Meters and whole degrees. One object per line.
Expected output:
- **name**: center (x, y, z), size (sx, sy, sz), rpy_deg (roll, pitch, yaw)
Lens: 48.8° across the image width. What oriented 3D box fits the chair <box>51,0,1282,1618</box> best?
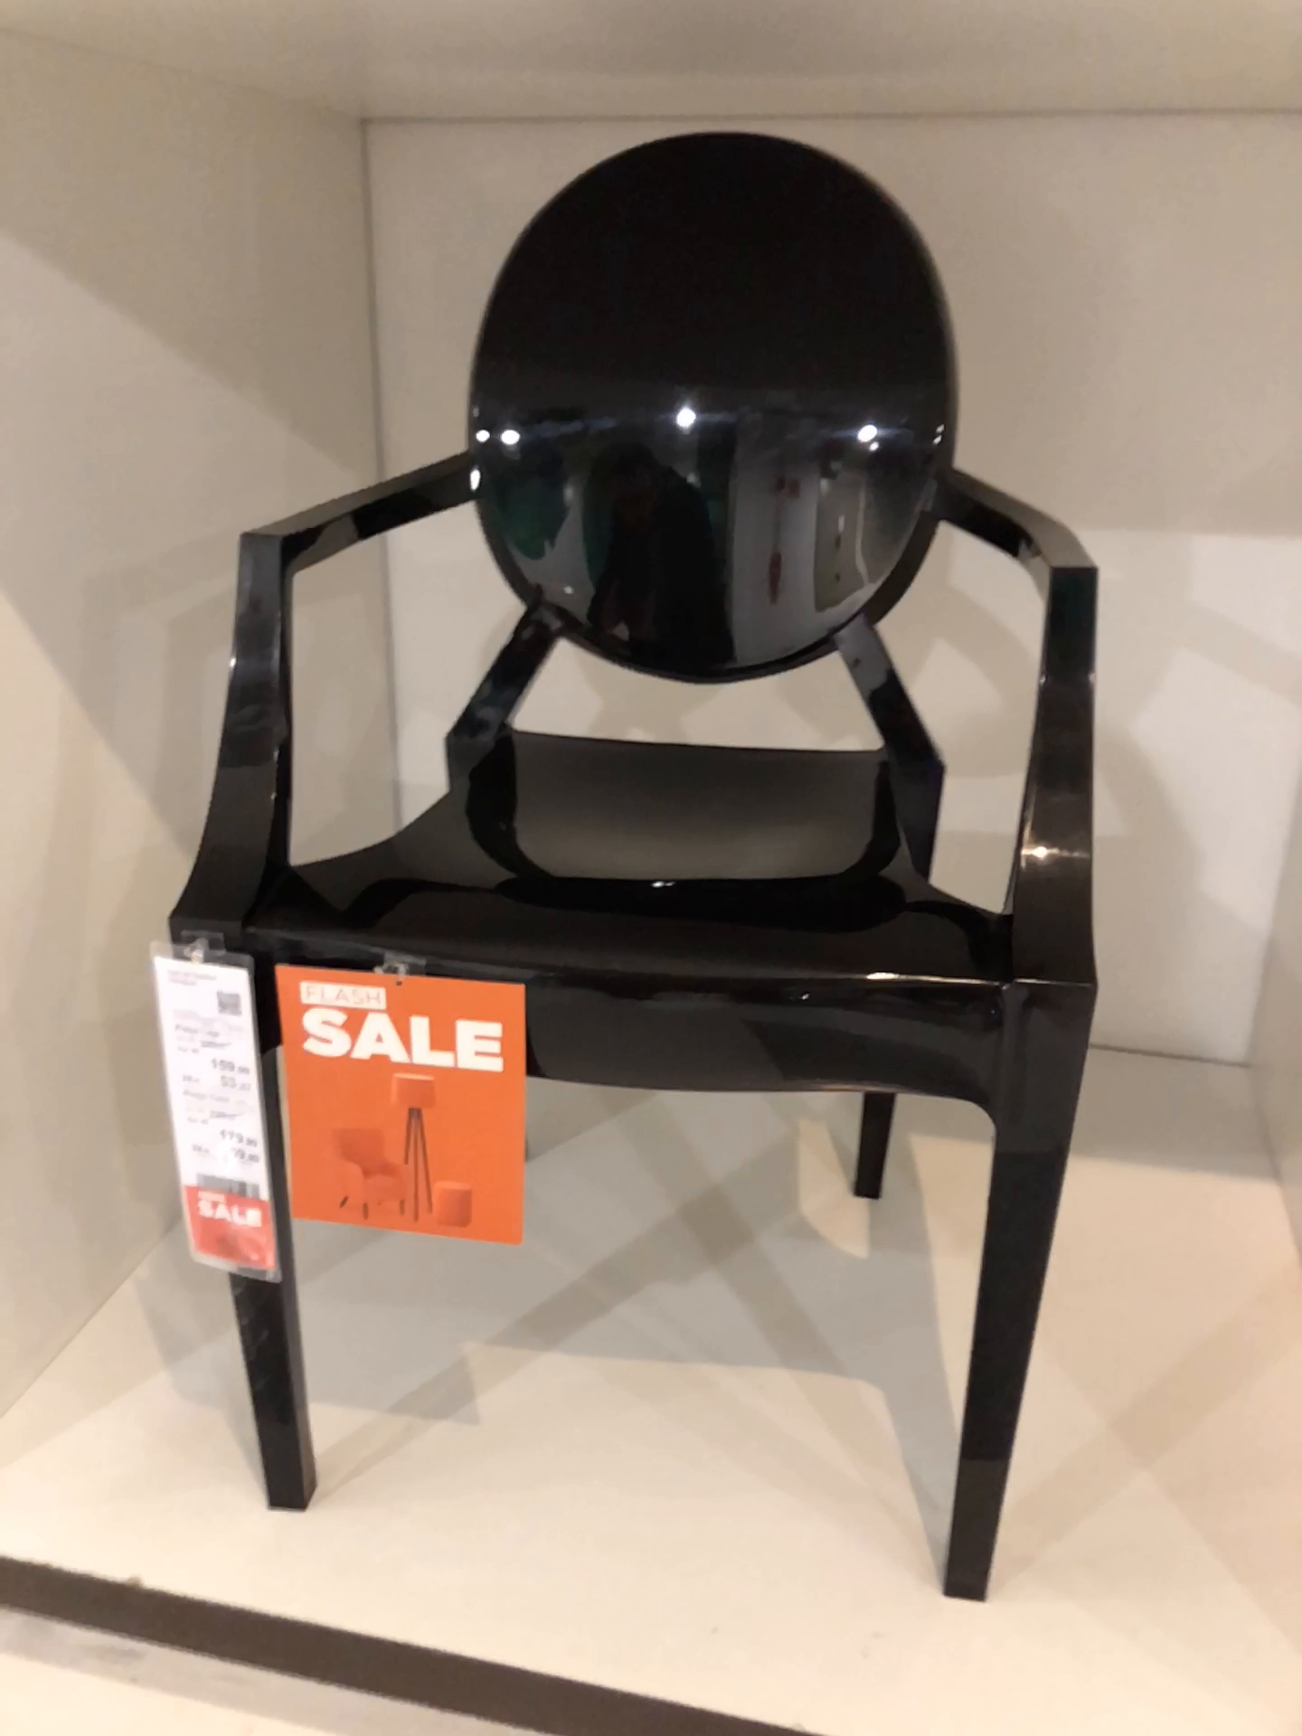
- **chair**: center (0.024, -0.050, 0.972), size (0.510, 0.854, 0.493), rpy_deg (4, 22, 8)
